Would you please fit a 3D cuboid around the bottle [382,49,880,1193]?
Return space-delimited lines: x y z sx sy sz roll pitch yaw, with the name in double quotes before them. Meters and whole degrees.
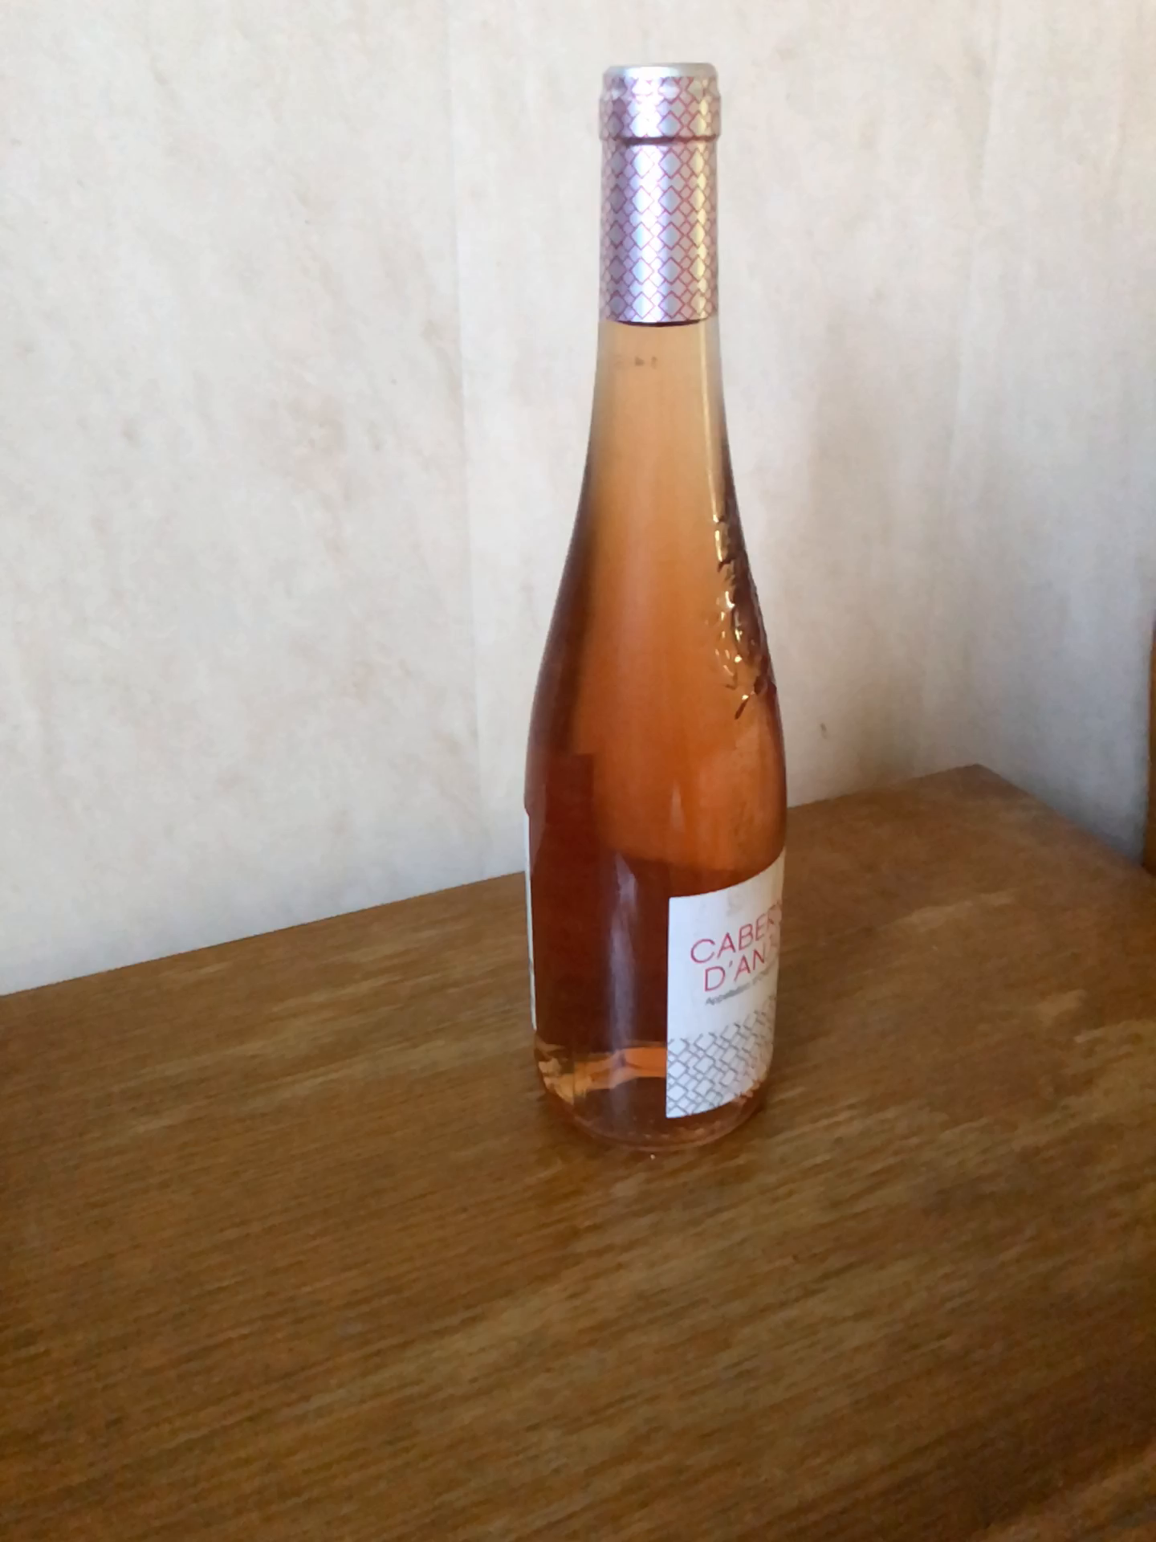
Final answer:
"bottle" 0.014 -0.035 0.371 0.090 0.298 0.080 21 32 37
